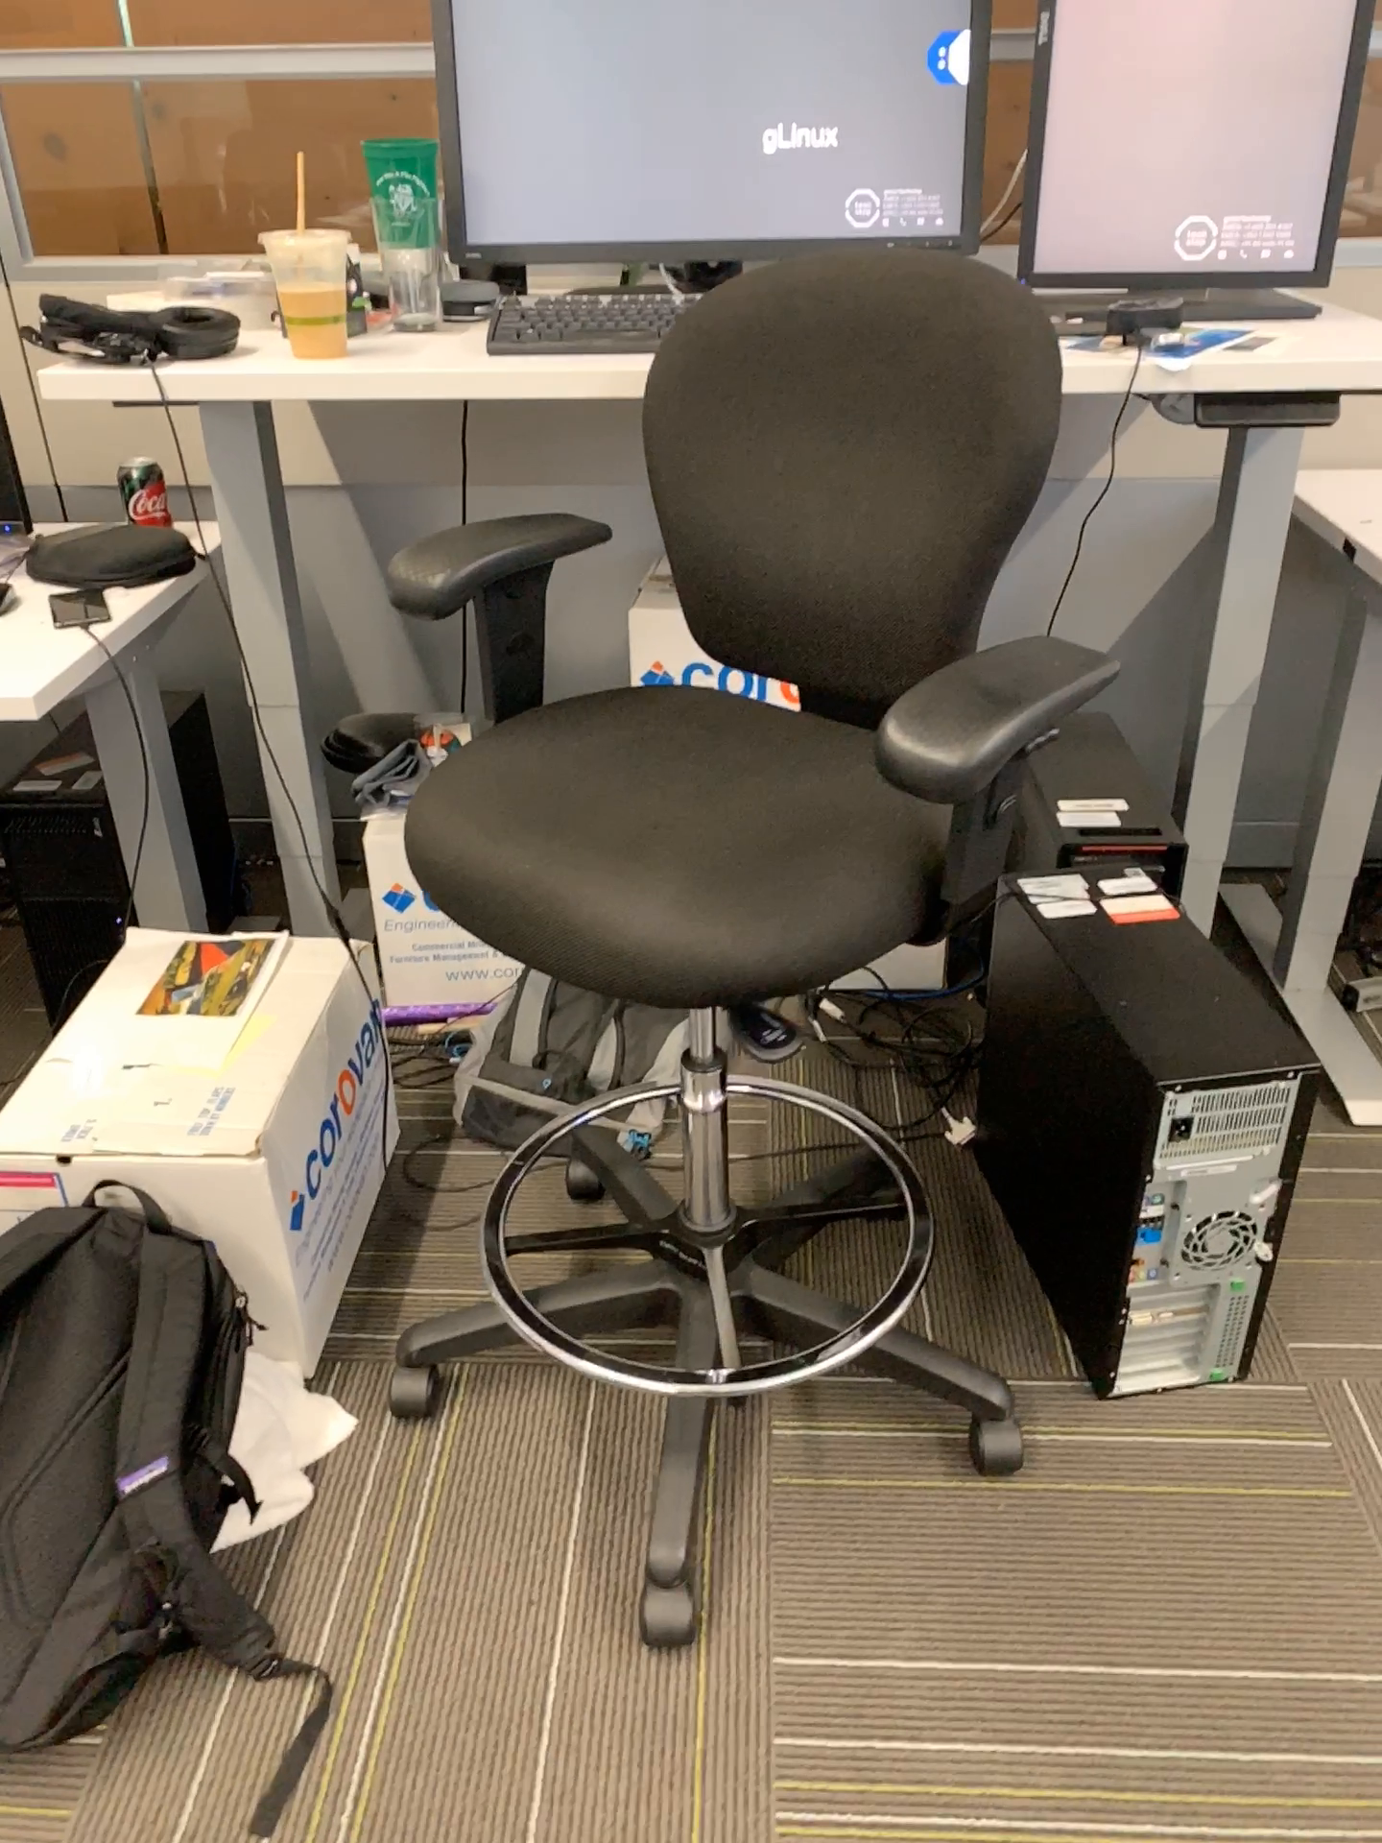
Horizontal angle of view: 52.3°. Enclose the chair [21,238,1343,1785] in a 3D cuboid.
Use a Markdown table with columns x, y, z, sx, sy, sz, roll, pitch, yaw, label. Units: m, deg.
| x | y | z | sx | sy | sz | roll | pitch | yaw | label |
| --- | --- | --- | --- | --- | --- | --- | --- | --- | --- |
| 0.036 | -0.014 | 1.370 | 0.713 | 1.103 | 0.772 | 20 | 36 | 33 | chair |
